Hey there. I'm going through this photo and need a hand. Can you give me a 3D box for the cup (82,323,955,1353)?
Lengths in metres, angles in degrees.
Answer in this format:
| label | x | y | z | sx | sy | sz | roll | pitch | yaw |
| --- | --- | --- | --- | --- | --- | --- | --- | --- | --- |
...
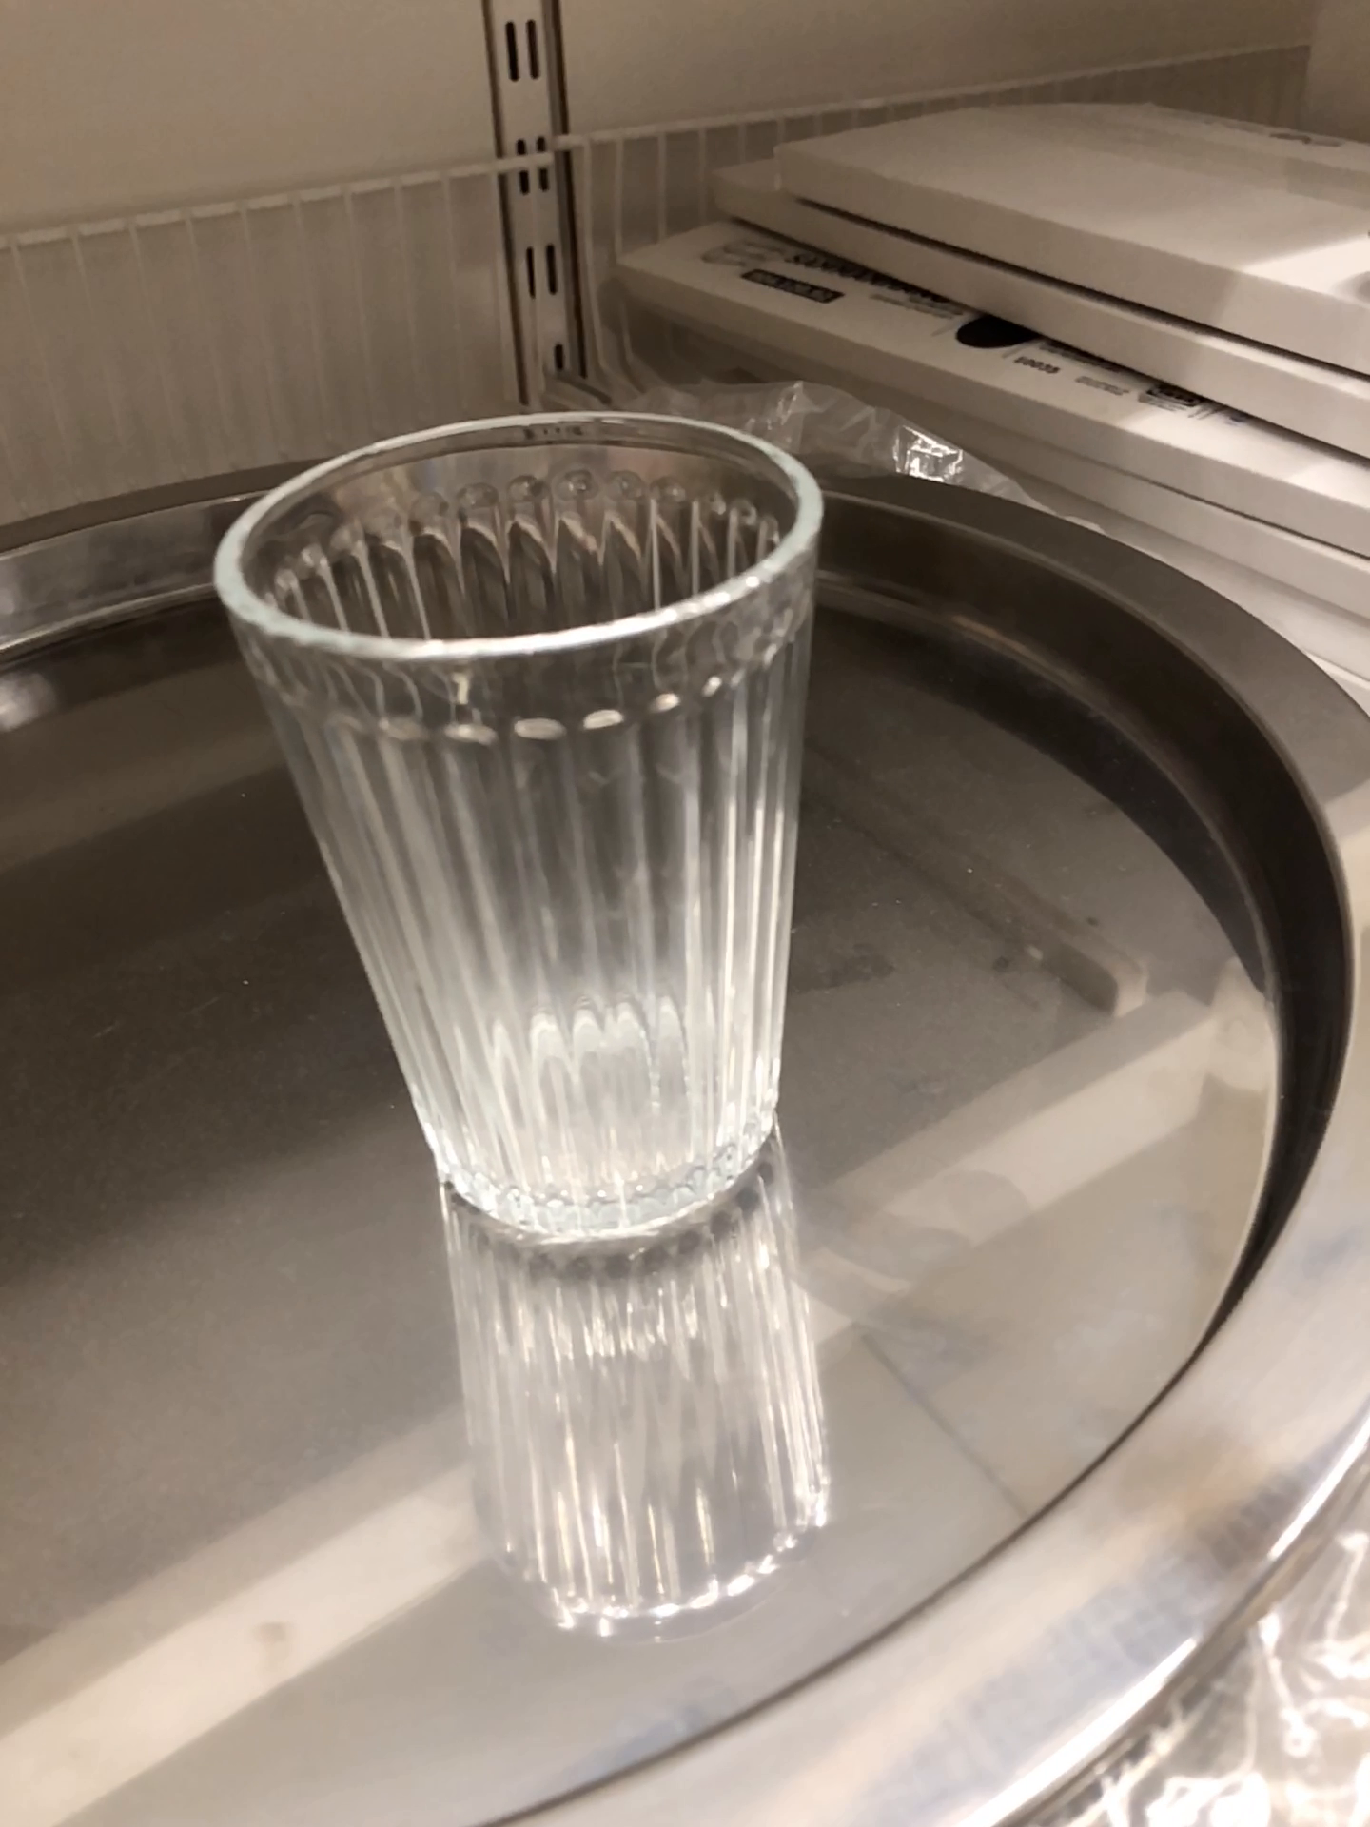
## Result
| label | x | y | z | sx | sy | sz | roll | pitch | yaw |
| --- | --- | --- | --- | --- | --- | --- | --- | --- | --- |
| cup | -0.012 | -0.013 | 0.200 | 0.070 | 0.100 | 0.070 | -4 | 37 | 3 |
